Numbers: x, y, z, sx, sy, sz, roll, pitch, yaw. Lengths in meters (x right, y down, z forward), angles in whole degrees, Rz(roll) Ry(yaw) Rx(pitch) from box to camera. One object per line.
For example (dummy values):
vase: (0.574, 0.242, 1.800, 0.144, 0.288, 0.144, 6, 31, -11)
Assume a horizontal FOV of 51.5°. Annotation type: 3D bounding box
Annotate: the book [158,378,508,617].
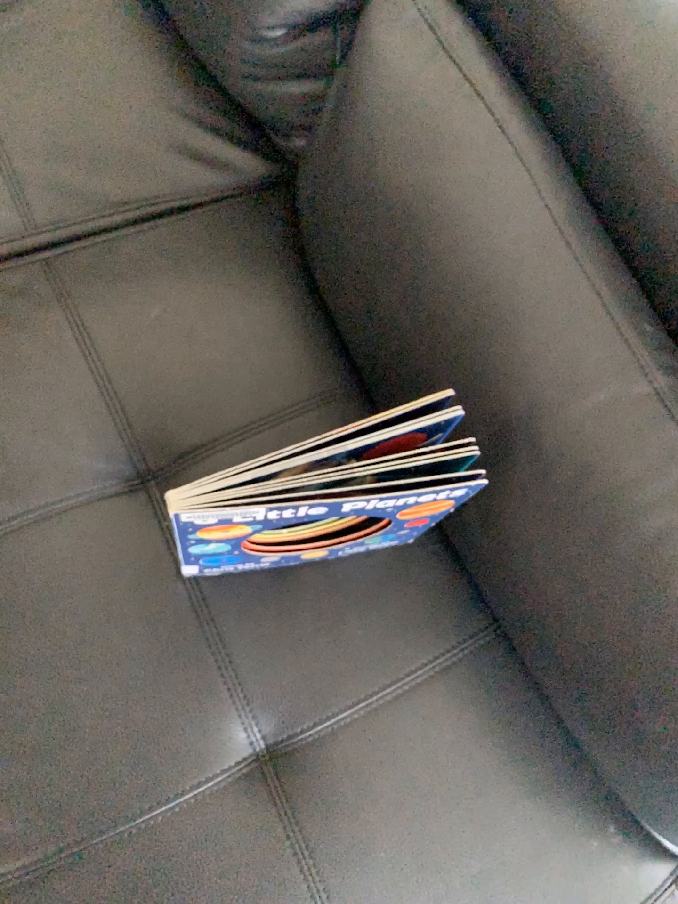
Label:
book: (-0.017, 0.044, 0.534, 0.207, 0.212, 0.079, -11, 71, -14)
